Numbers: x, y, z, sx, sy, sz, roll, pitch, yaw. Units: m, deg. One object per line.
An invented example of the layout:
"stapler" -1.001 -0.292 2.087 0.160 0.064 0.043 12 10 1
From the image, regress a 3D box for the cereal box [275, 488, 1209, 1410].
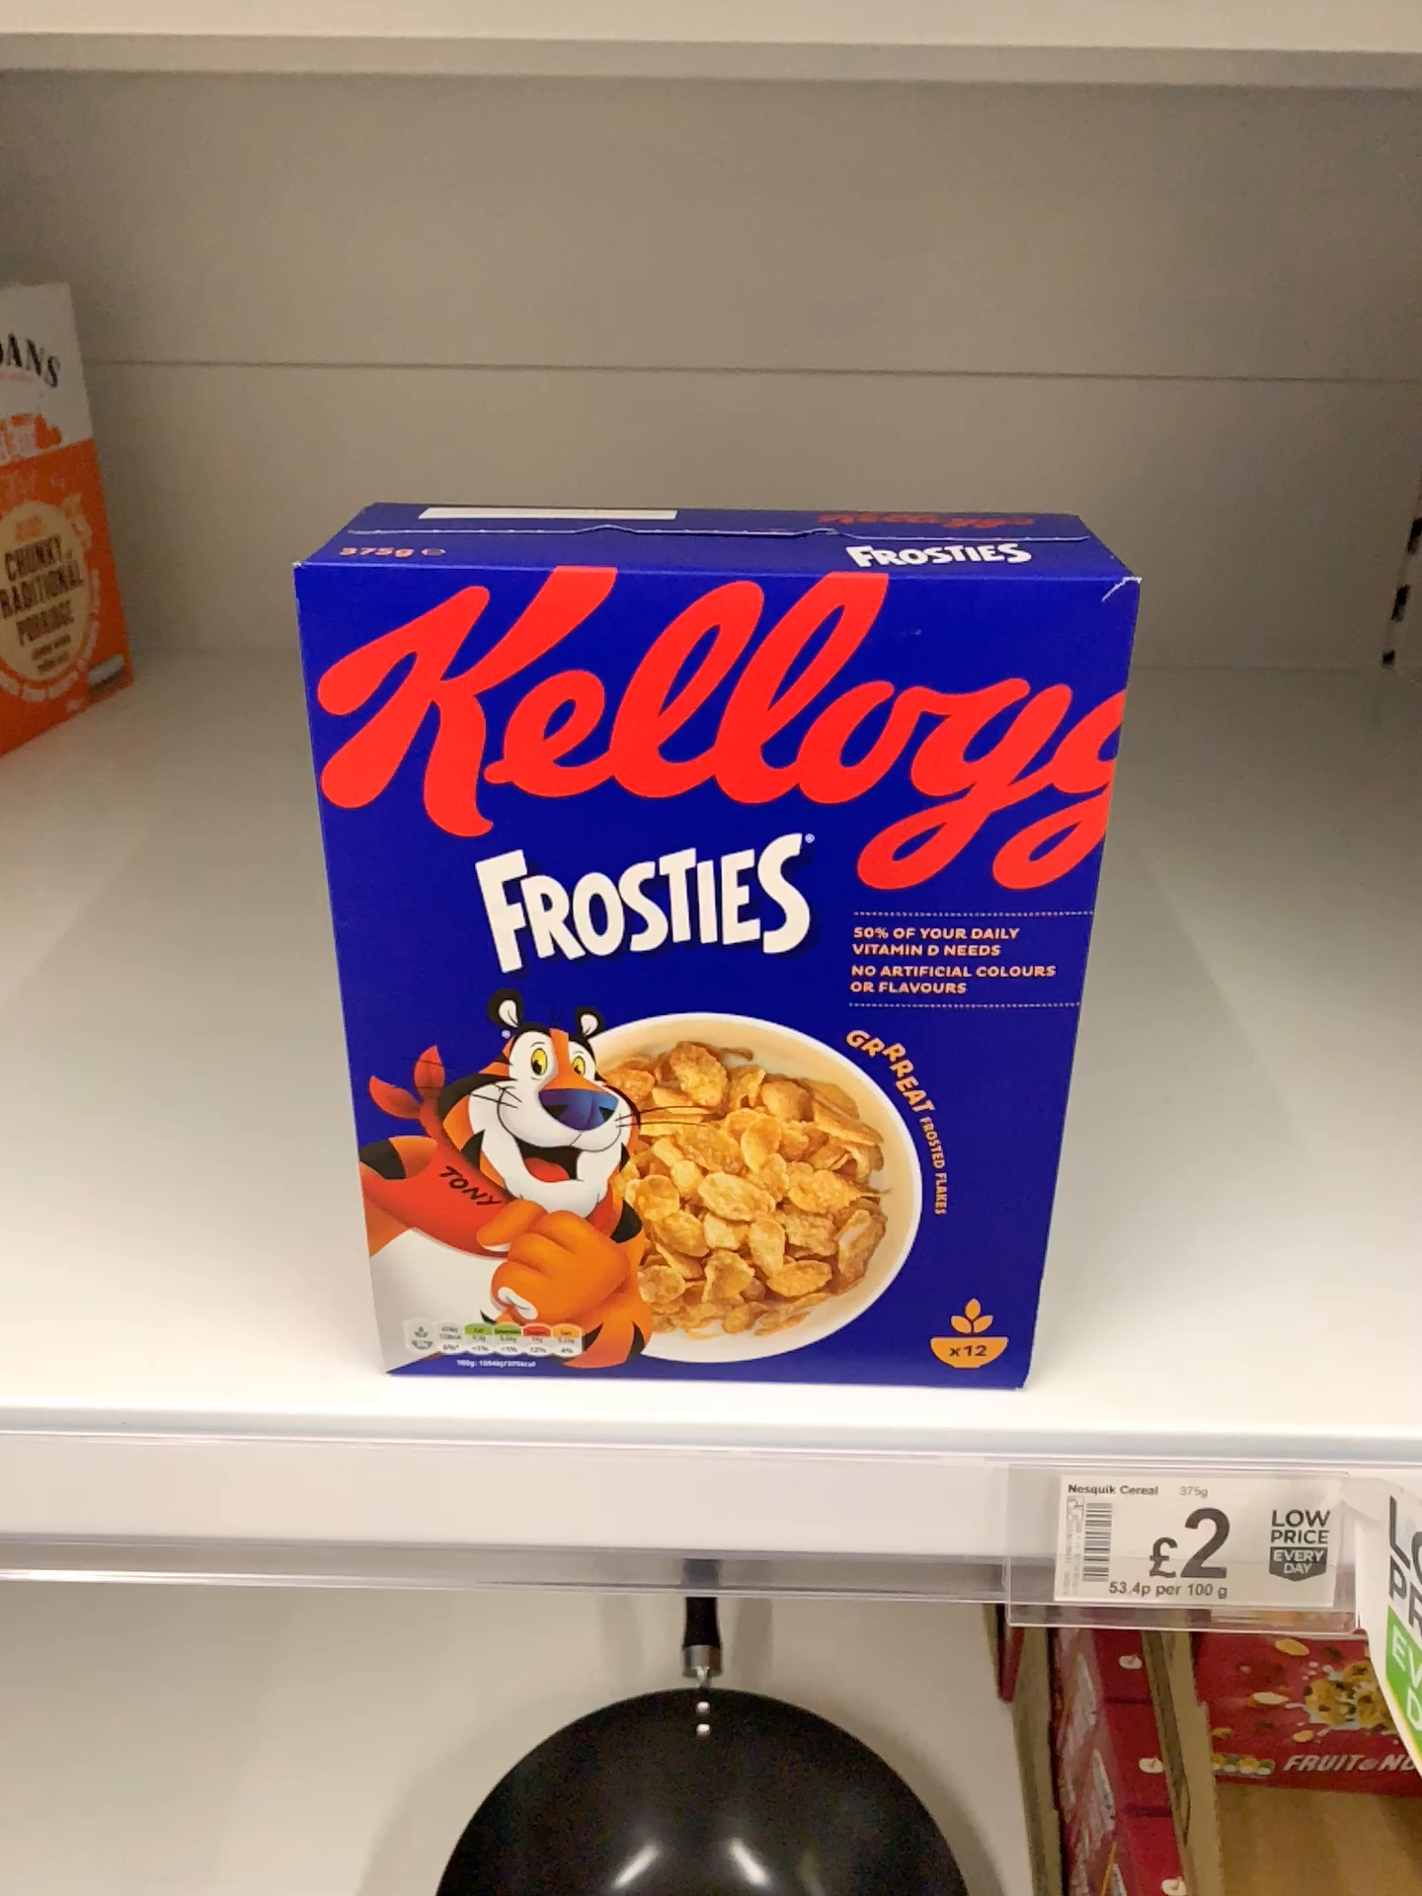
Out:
"cereal box" 0.006 0.006 0.404 0.200 0.238 0.081 1 27 1
